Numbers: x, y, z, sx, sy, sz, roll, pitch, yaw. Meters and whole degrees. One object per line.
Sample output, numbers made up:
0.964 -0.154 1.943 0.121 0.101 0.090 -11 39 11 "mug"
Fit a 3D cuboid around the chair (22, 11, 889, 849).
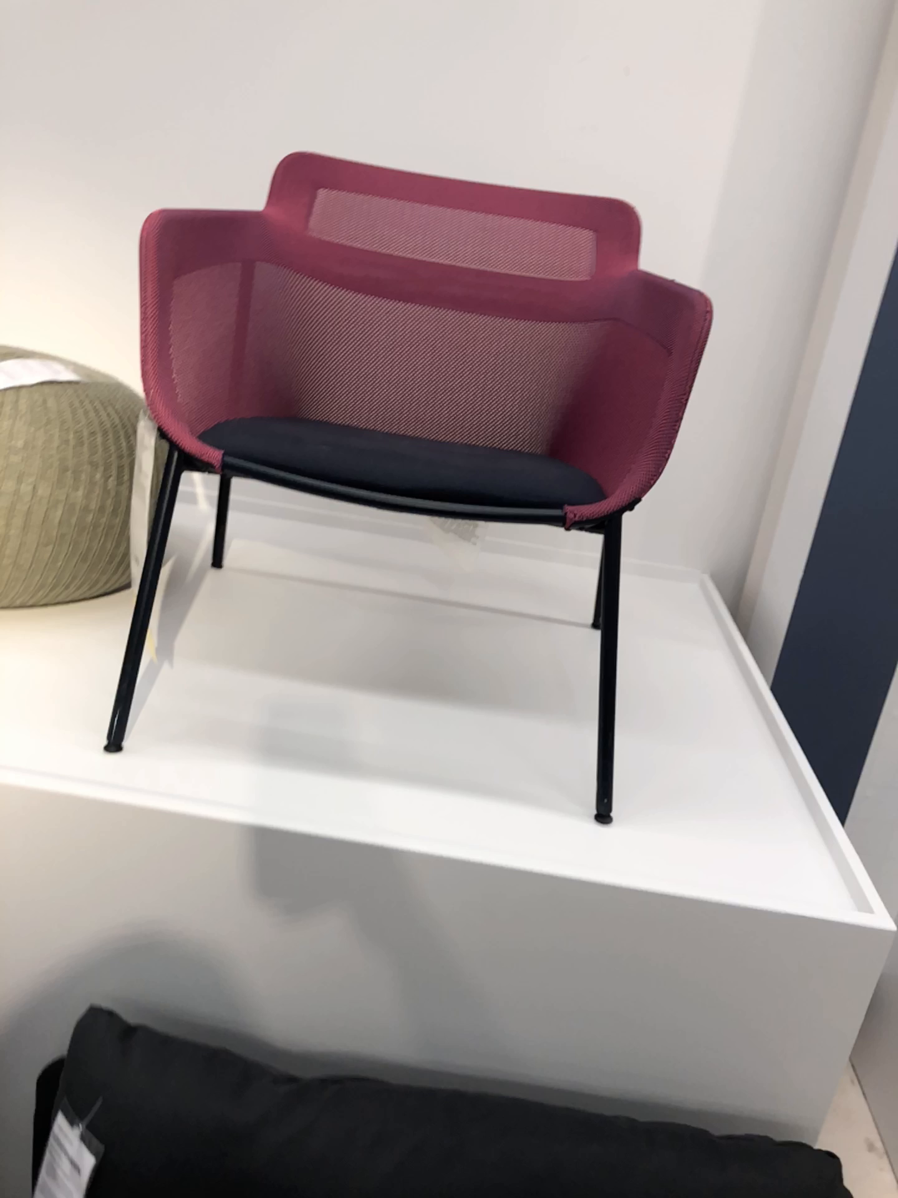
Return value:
-0.025 -0.294 1.484 0.780 0.747 1.014 9 21 -1 "chair"
